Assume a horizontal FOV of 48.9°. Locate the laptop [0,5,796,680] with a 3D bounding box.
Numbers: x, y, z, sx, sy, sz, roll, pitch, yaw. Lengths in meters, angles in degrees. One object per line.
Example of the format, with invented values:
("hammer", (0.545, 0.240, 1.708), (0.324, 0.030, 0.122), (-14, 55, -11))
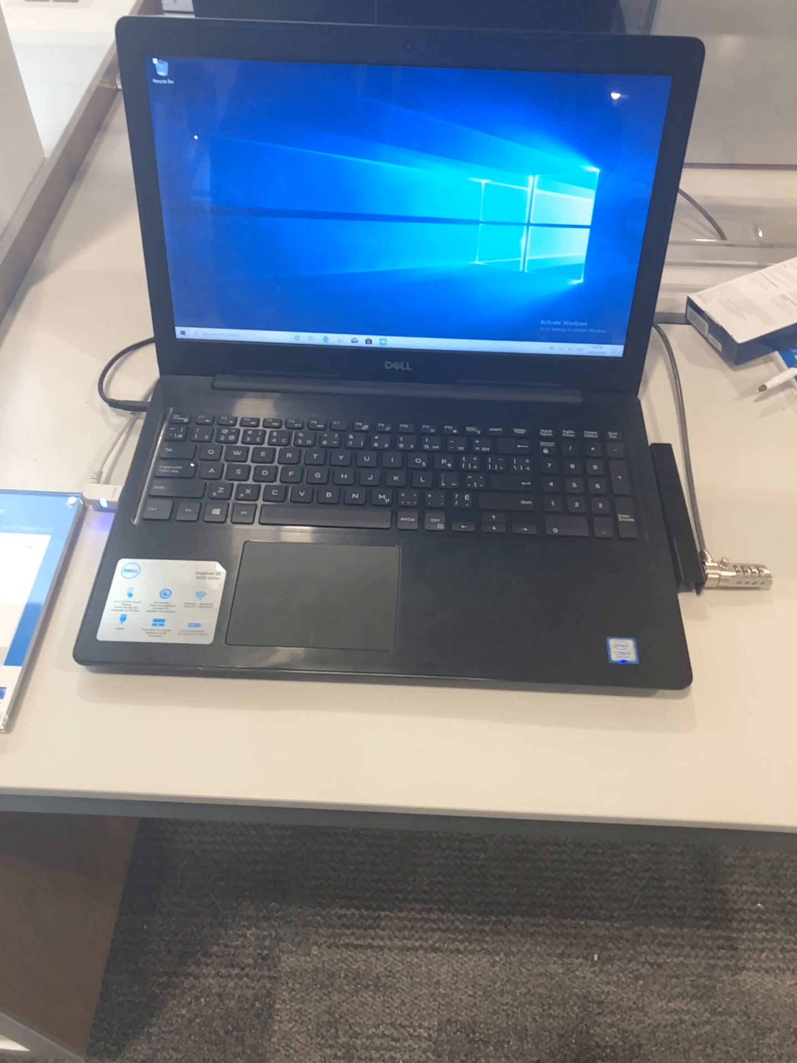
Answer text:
("laptop", (-0.003, -0.124, 0.544), (0.363, 0.224, 0.337), (2, 53, 1))
